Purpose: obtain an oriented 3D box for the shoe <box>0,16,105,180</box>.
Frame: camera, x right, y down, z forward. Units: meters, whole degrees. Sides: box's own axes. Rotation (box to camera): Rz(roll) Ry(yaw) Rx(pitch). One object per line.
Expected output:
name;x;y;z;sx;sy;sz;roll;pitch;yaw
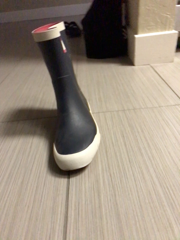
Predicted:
shoe;-0.052;-0.069;0.402;0.102;0.216;0.280;-10;33;1
